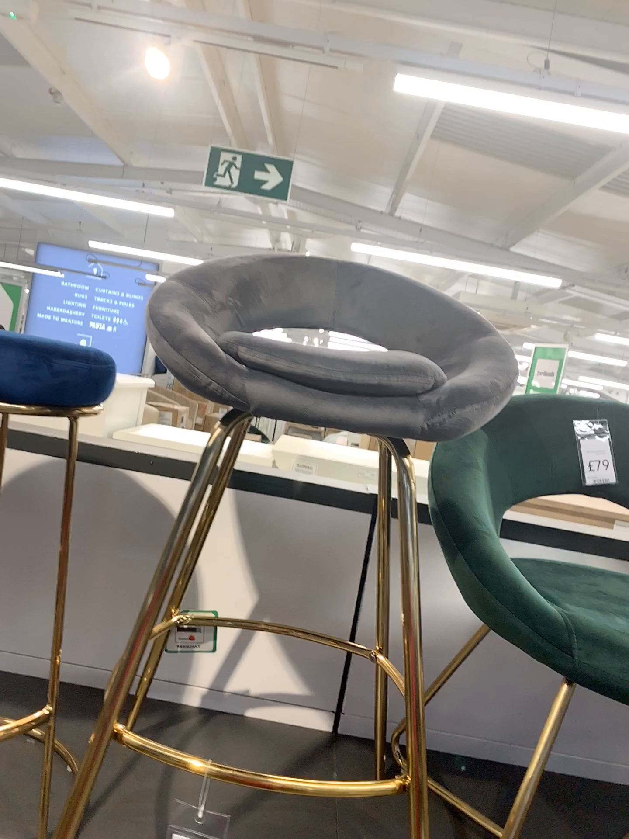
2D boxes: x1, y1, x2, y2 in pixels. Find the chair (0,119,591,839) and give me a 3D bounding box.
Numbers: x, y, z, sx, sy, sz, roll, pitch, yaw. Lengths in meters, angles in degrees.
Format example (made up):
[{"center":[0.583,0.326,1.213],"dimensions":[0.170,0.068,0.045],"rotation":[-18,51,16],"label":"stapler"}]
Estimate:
[{"center":[-0.047,0.164,0.882],"dimensions":[0.486,0.873,0.475],"rotation":[10,3,0],"label":"chair"}]
